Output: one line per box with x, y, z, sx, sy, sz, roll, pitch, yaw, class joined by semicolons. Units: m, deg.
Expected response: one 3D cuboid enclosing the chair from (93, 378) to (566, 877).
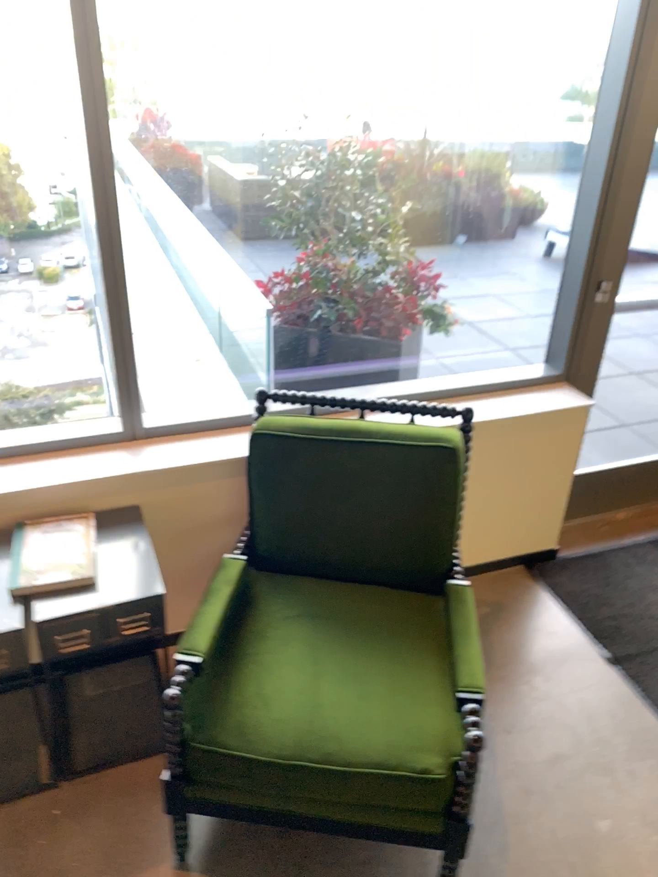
0.034;0.485;1.866;0.870;0.924;0.945;6;29;6;chair
